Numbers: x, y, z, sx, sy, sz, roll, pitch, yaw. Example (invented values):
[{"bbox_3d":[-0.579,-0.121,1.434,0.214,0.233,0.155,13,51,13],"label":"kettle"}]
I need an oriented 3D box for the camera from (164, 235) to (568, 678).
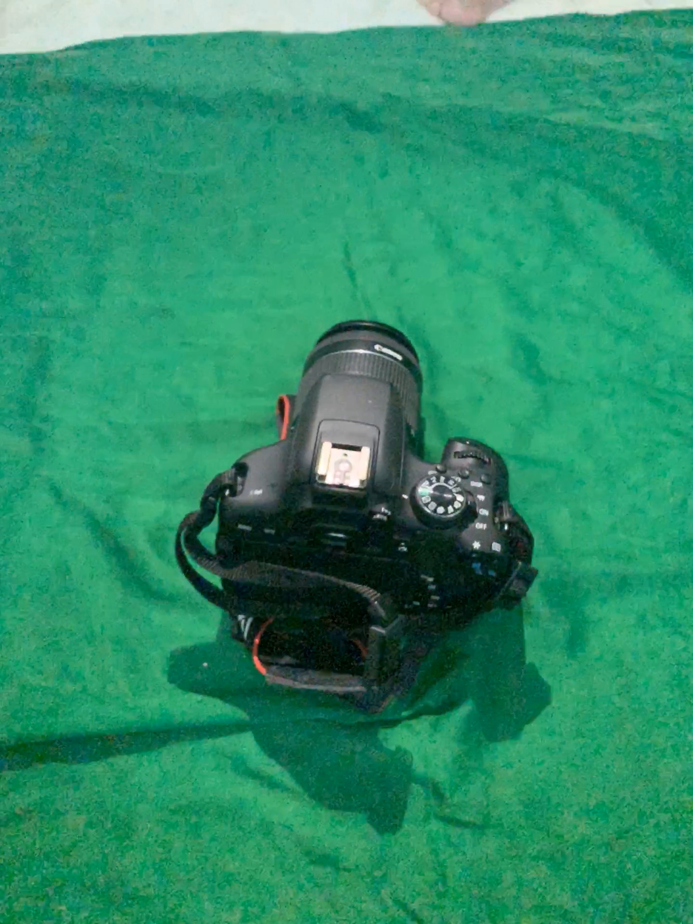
[{"bbox_3d":[0.017,-0.008,0.363,0.152,0.100,0.191,4,57,5],"label":"camera"}]
